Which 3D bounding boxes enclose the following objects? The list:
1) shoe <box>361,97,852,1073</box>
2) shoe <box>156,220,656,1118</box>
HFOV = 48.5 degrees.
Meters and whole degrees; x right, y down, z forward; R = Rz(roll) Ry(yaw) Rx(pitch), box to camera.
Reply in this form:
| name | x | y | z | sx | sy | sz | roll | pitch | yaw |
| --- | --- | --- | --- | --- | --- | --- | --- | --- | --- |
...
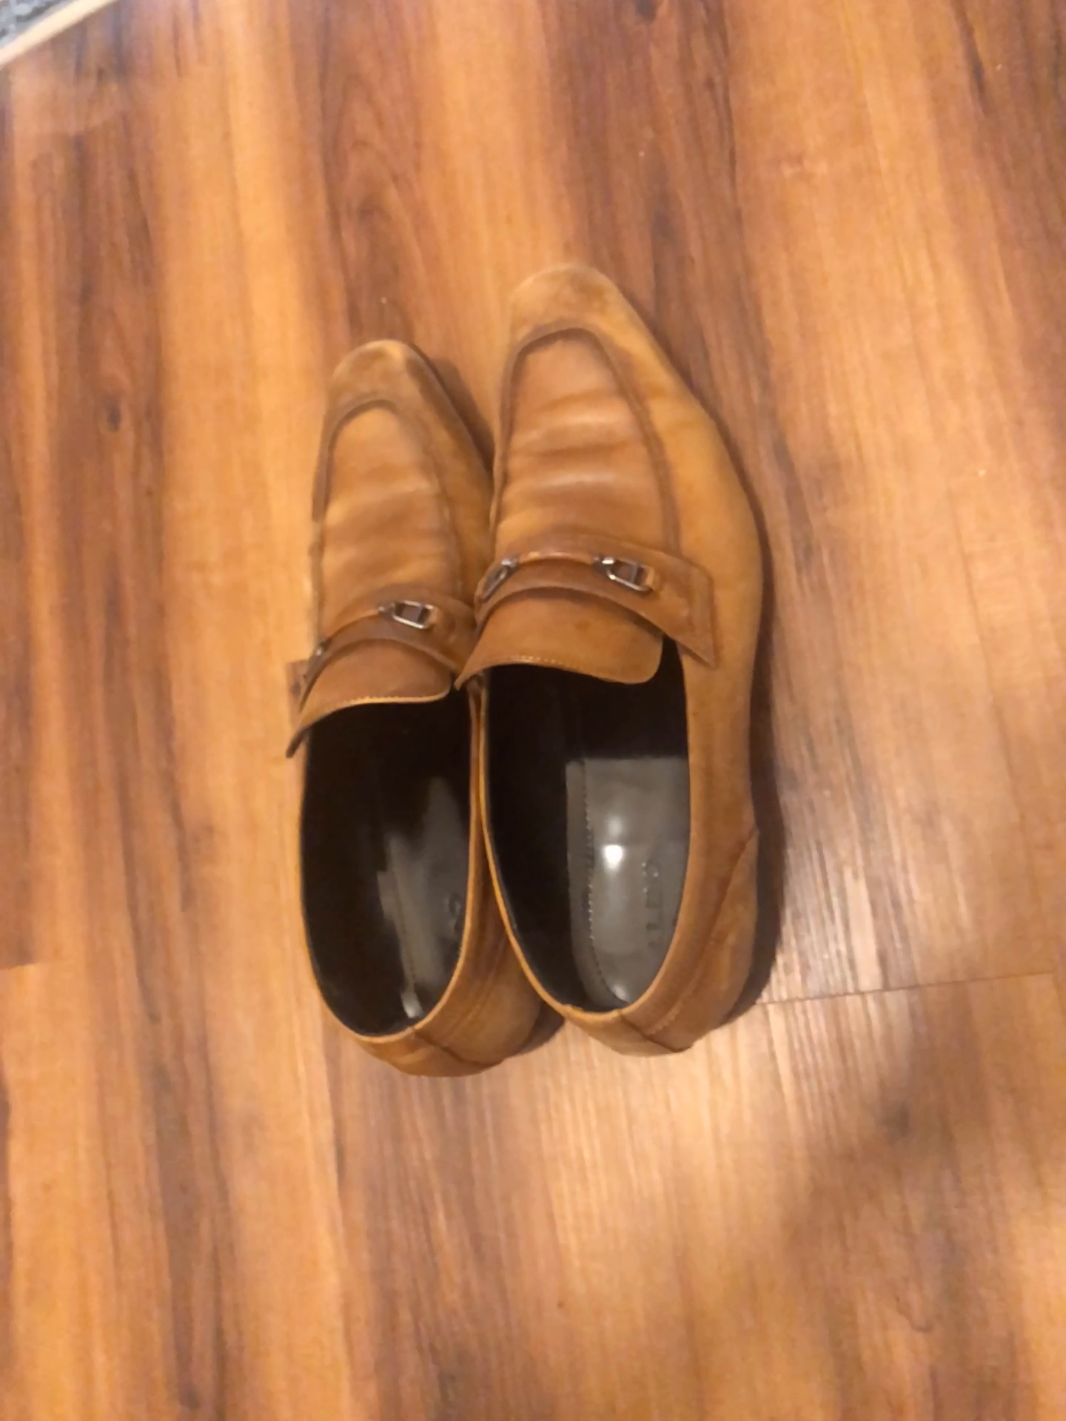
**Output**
| name | x | y | z | sx | sy | sz | roll | pitch | yaw |
| --- | --- | --- | --- | --- | --- | --- | --- | --- | --- |
| shoe | 0.027 | -0.037 | 0.437 | 0.106 | 0.112 | 0.308 | -12 | 78 | 25 |
| shoe | -0.052 | -0.013 | 0.474 | 0.106 | 0.112 | 0.308 | -17 | 76 | 24 |
